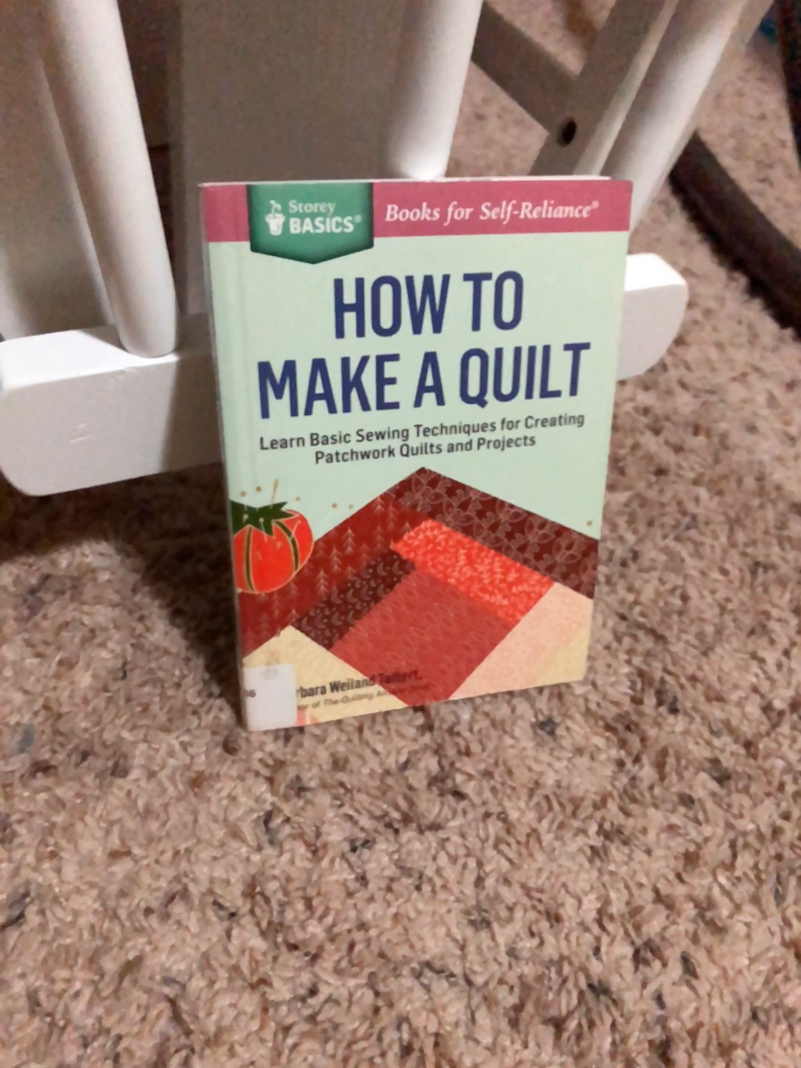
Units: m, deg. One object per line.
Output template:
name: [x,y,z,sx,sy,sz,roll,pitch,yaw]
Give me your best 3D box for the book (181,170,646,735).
book: [0.005,-0.023,0.282,0.130,0.168,0.020,-6,23,-16]
